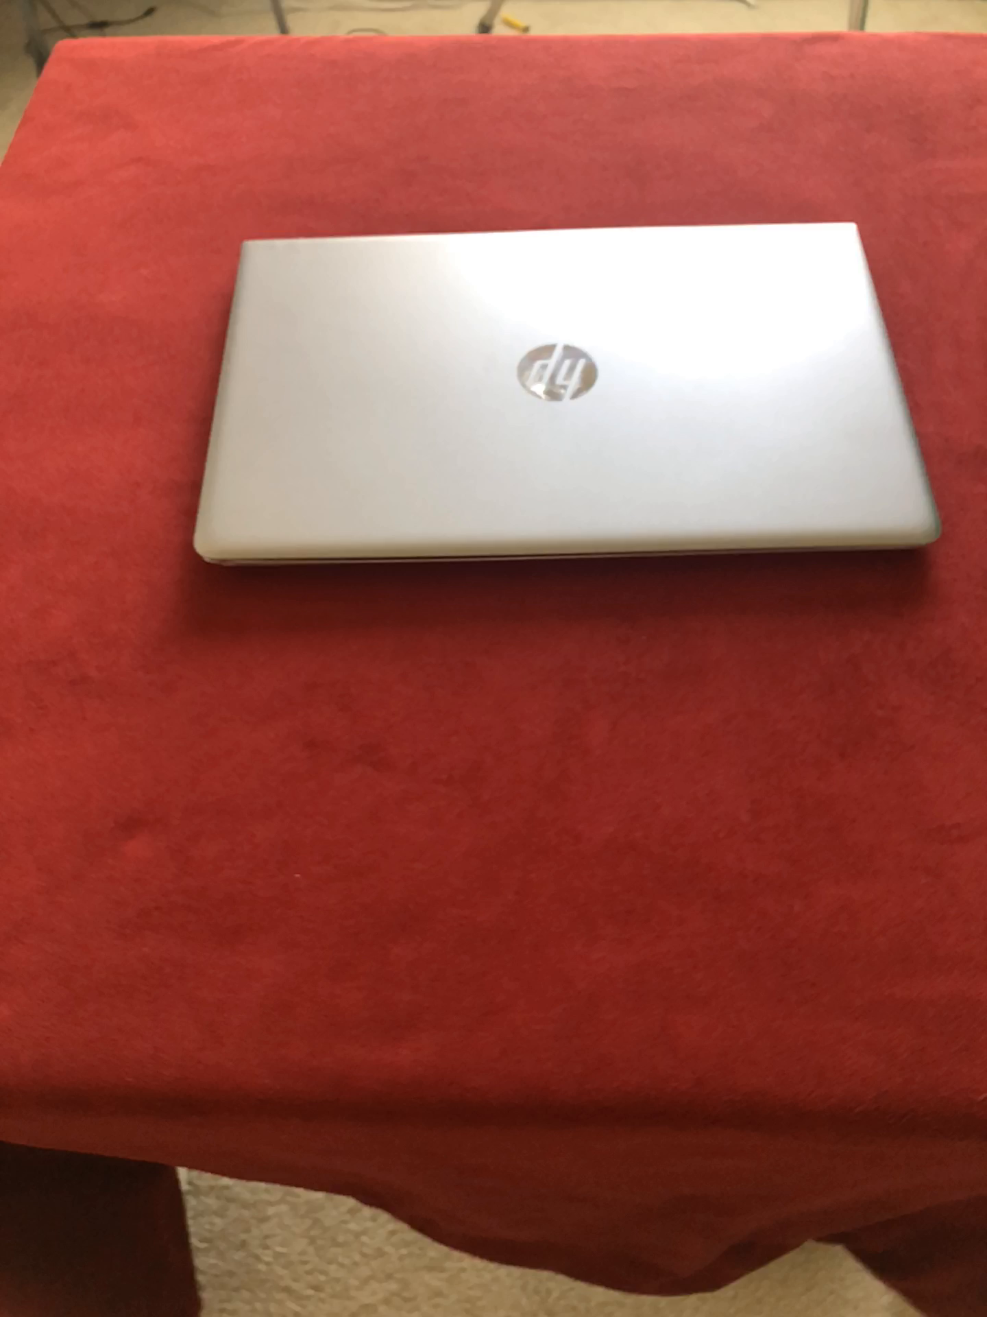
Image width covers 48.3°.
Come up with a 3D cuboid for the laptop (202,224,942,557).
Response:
[{"bbox_3d":[0.038,-0.158,0.615,0.372,0.006,0.234,-1,60,0],"label":"laptop"}]
